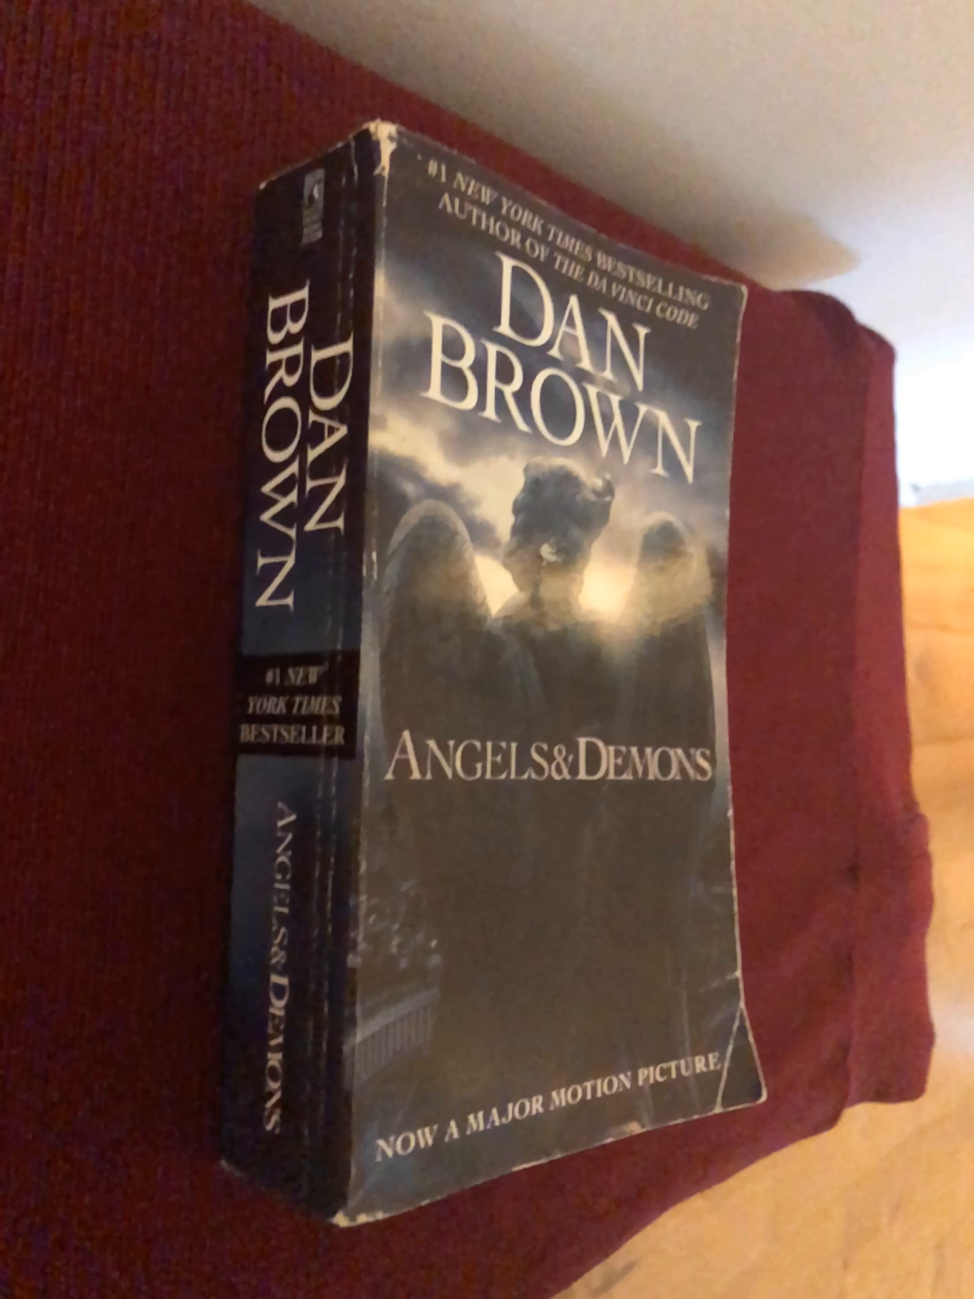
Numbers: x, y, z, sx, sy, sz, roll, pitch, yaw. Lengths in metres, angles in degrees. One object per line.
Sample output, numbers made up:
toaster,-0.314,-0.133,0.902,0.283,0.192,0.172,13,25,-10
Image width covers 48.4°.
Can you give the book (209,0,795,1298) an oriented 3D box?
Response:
book,0.010,-0.001,0.225,0.121,0.040,0.210,5,83,-41
